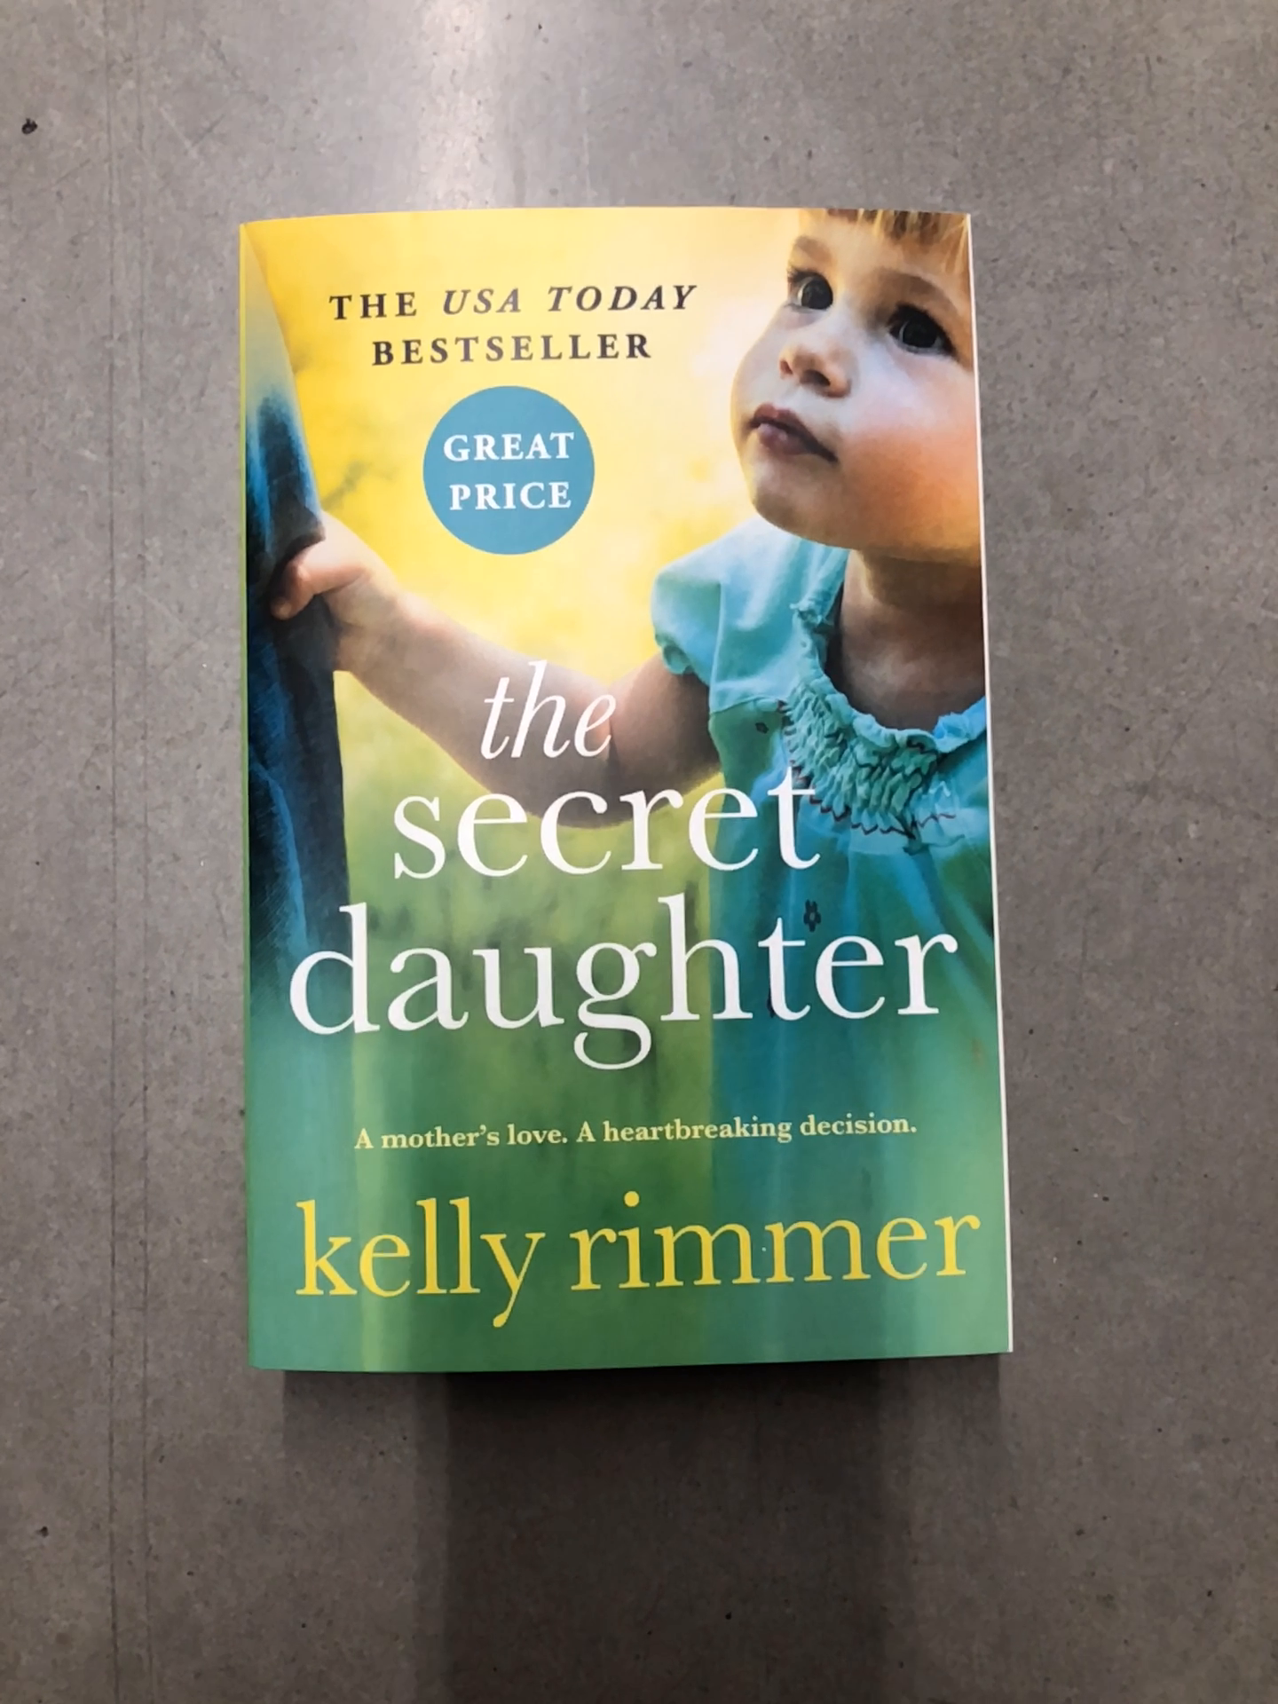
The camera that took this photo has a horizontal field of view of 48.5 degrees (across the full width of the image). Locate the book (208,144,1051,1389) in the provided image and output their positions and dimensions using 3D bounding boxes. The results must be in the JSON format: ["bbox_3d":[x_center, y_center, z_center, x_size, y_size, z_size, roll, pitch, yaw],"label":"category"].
[{"bbox_3d":[-0.003,-0.016,0.256,0.140,0.030,0.210,-1,88,0],"label":"book"}]
